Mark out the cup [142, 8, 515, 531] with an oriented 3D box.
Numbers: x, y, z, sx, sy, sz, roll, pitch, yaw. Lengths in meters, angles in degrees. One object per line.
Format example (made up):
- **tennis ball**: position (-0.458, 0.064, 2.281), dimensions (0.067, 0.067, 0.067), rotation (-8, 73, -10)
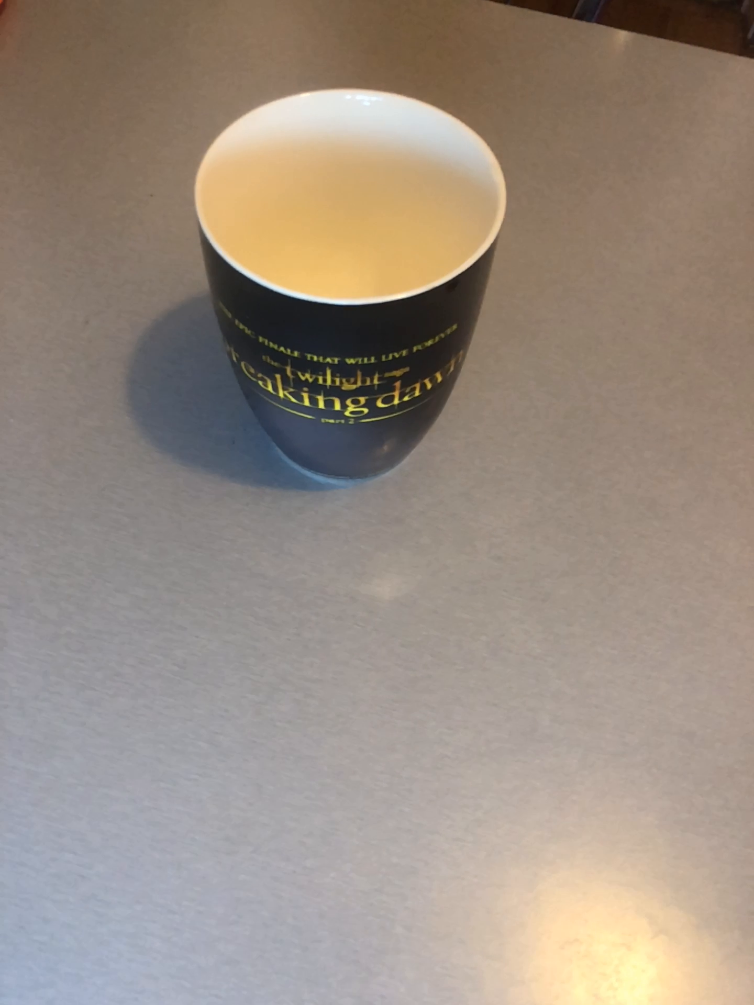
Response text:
- **cup**: position (-0.008, -0.076, 0.282), dimensions (0.090, 0.100, 0.130), rotation (6, 61, 2)
